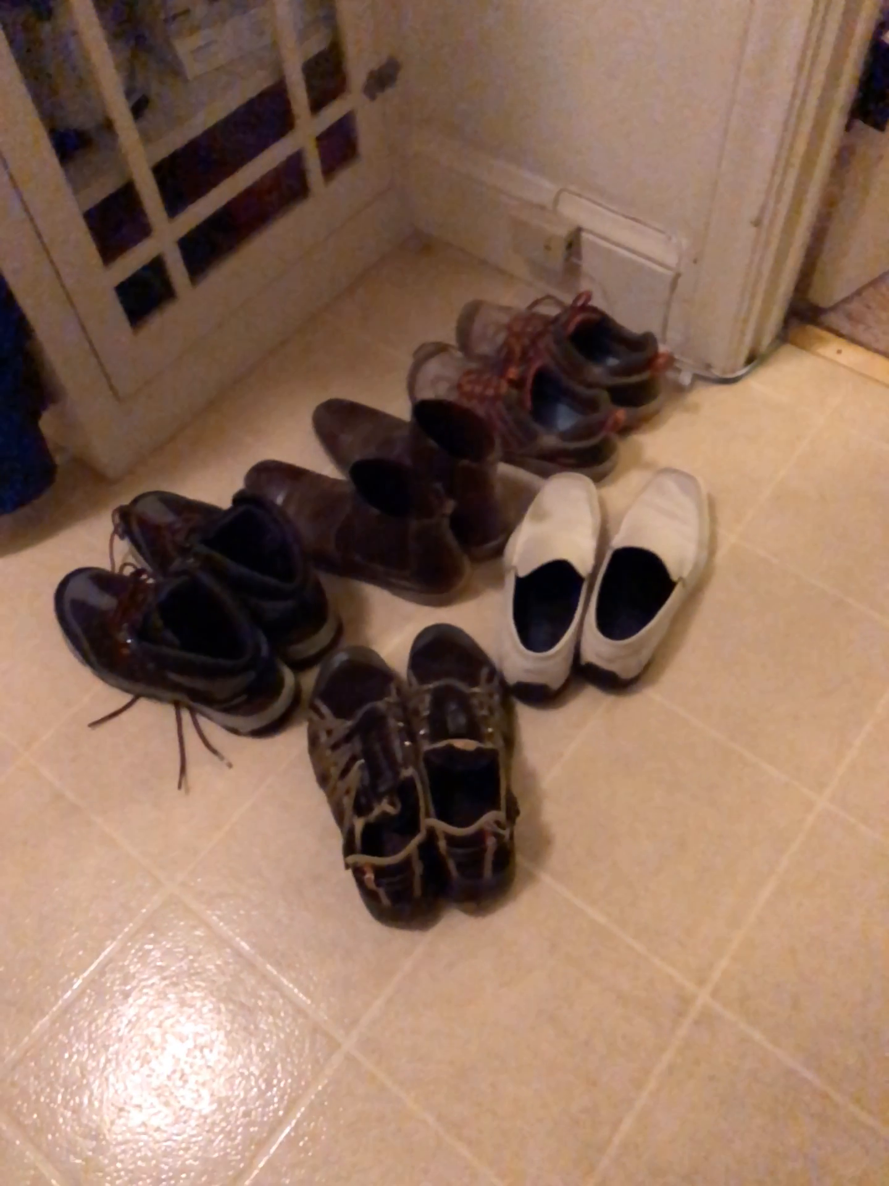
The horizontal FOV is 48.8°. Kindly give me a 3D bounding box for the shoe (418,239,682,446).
[{"bbox_3d":[0.129,-0.325,1.259,0.314,0.113,0.110,29,63,21],"label":"shoe"}]

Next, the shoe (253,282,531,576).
[{"bbox_3d":[-0.059,-0.196,1.166,0.324,0.192,0.110,36,66,24],"label":"shoe"}]

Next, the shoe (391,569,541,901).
[{"bbox_3d":[0.018,0.137,0.983,0.110,0.123,0.294,-7,57,0],"label":"shoe"}]

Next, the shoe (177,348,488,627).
[{"bbox_3d":[-0.120,-0.120,1.122,0.324,0.192,0.110,26,62,19],"label":"shoe"}]

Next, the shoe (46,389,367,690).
[{"bbox_3d":[-0.257,-0.060,1.089,0.324,0.192,0.110,31,64,21],"label":"shoe"}]

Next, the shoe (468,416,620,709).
[{"bbox_3d":[0.115,-0.041,1.094,0.110,0.113,0.304,9,58,10],"label":"shoe"}]

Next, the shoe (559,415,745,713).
[{"bbox_3d":[0.231,-0.038,1.087,0.110,0.113,0.304,18,60,15],"label":"shoe"}]

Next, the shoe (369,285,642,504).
[{"bbox_3d":[0.071,-0.248,1.207,0.314,0.113,0.110,29,63,21],"label":"shoe"}]

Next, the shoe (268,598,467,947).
[{"bbox_3d":[-0.078,0.170,0.964,0.110,0.123,0.294,-16,57,-7],"label":"shoe"}]

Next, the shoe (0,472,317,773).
[{"bbox_3d":[-0.313,0.031,1.025,0.324,0.192,0.110,25,62,18],"label":"shoe"}]
